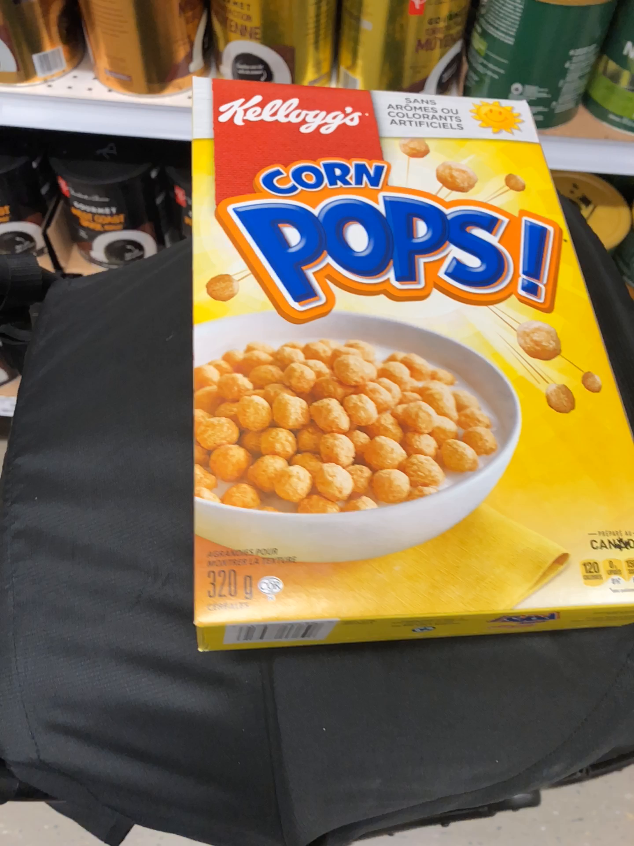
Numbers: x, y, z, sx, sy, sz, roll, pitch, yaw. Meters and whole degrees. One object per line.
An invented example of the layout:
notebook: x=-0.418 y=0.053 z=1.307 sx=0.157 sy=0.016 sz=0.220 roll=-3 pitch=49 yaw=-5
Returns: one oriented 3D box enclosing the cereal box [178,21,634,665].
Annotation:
cereal box: x=0.037 y=-0.060 z=0.347 sx=0.200 sy=0.060 sz=0.320 roll=-1 pitch=63 yaw=-8
